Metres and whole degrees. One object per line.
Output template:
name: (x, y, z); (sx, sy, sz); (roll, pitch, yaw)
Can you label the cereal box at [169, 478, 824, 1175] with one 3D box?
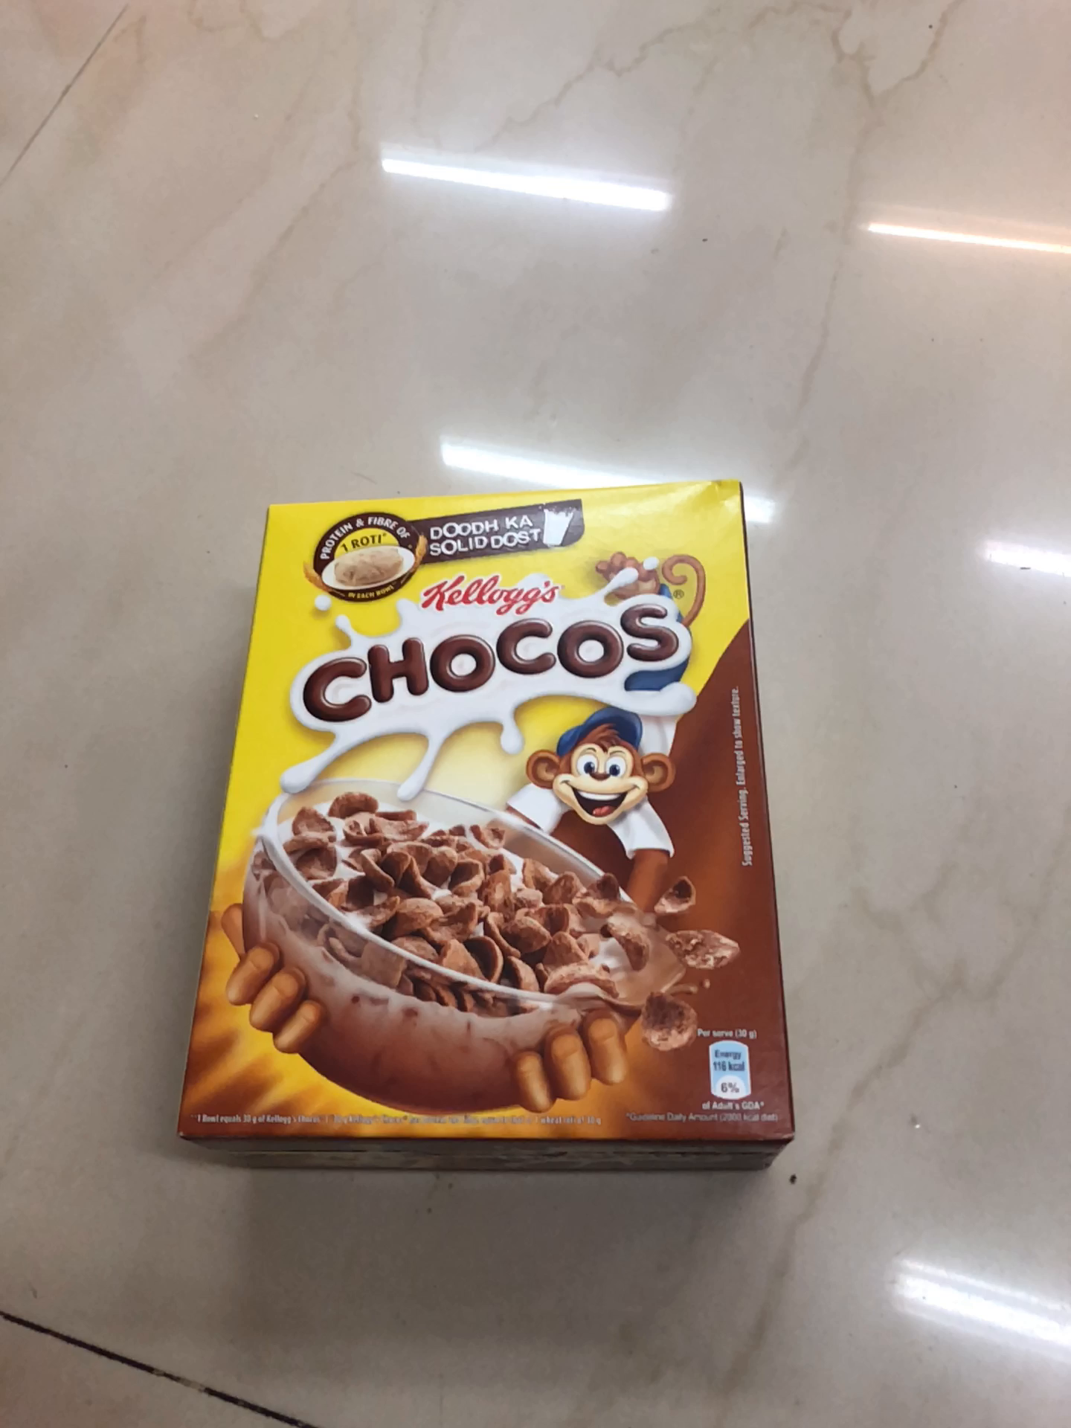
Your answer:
cereal box: (-0.006, 0.026, 0.309); (0.140, 0.050, 0.171); (-1, 66, 5)
